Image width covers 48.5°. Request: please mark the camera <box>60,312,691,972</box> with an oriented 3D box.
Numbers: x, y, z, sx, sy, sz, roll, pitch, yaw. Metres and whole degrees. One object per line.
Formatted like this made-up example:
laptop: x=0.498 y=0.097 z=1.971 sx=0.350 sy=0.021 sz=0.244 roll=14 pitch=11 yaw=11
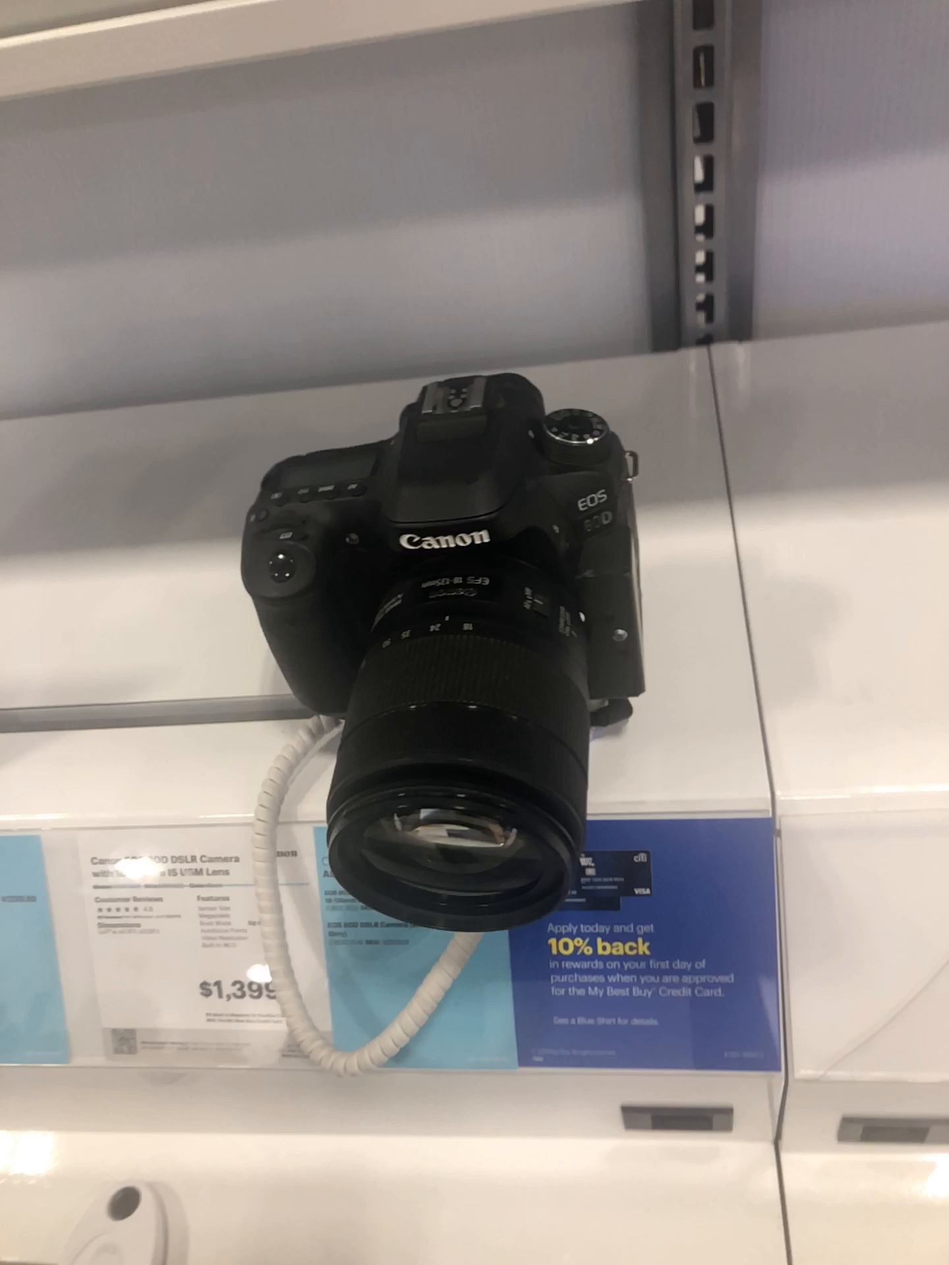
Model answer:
camera: x=-0.012 y=0.001 z=0.345 sx=0.150 sy=0.110 sz=0.180 roll=-3 pitch=47 yaw=10
